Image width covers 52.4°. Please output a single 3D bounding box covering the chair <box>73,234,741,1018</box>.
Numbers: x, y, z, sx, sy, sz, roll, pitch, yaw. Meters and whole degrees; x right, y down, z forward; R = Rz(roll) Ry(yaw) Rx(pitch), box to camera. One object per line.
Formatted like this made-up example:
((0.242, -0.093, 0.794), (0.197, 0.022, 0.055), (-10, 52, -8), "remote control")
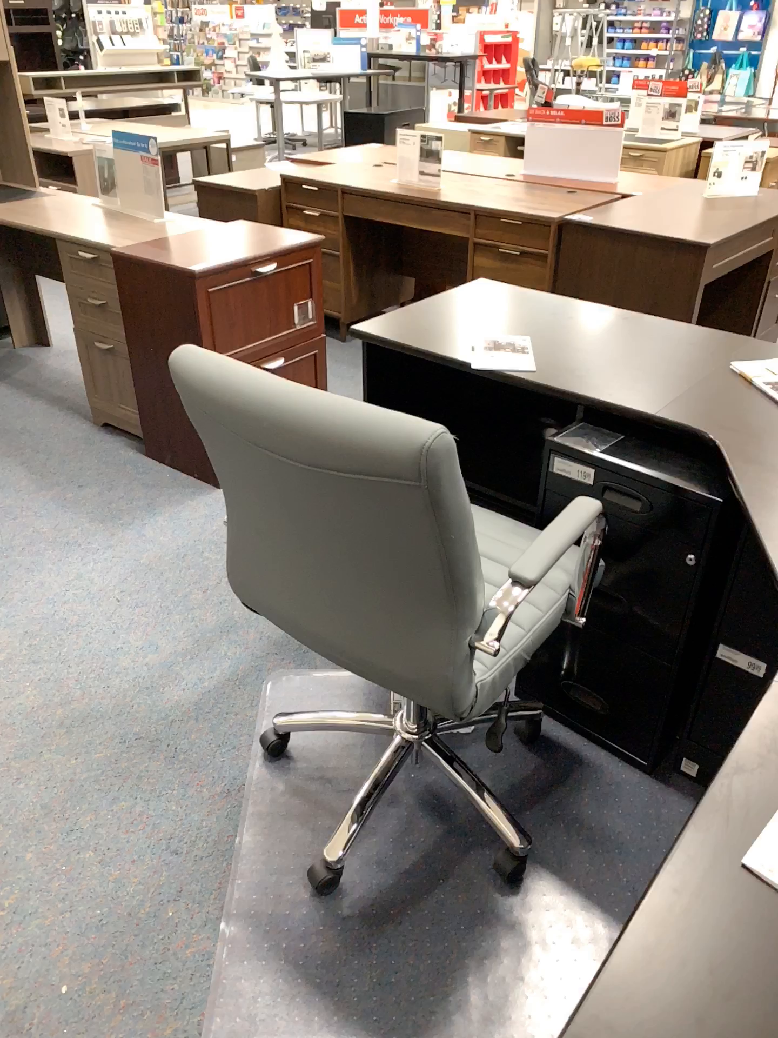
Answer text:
((0.038, 0.109, 1.389), (0.659, 0.962, 0.709), (26, 40, 35), "chair")
